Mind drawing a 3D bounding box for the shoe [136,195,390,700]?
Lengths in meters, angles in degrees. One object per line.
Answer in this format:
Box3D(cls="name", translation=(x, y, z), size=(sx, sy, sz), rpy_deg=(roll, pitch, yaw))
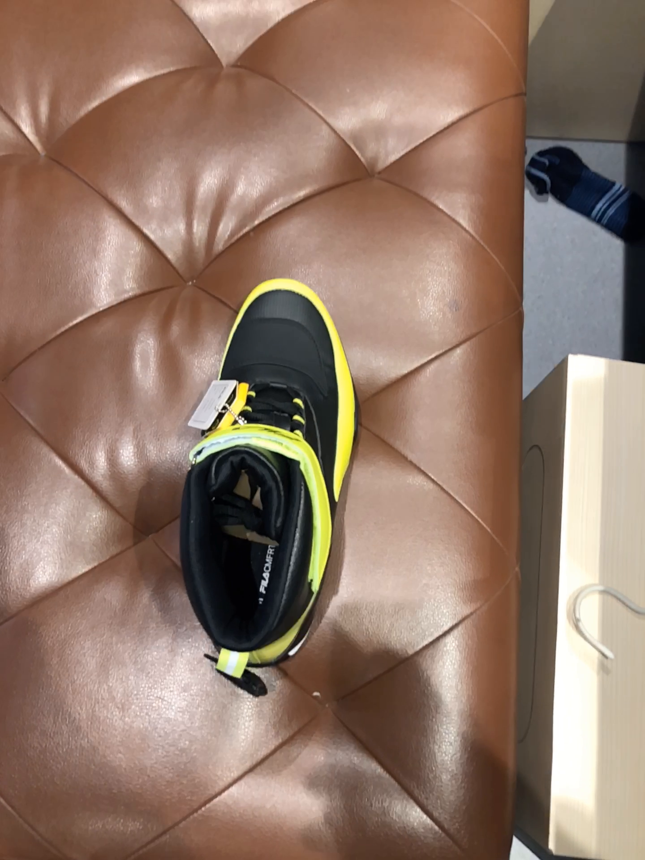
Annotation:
Box3D(cls="shoe", translation=(-0.027, 0.020, 0.463), size=(0.116, 0.173, 0.274), rpy_deg=(3, 73, -1))
